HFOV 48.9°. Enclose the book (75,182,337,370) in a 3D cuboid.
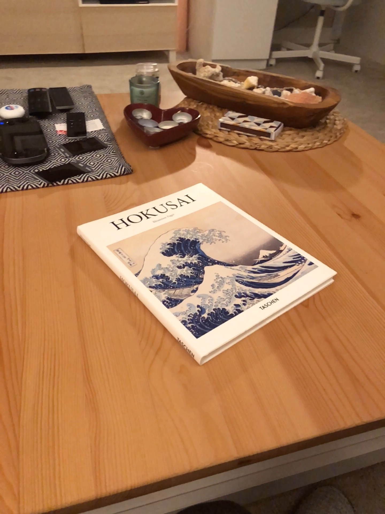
[{"bbox_3d":[0.010,-0.003,0.527,0.211,0.020,0.252,-24,47,-31],"label":"book"}]
